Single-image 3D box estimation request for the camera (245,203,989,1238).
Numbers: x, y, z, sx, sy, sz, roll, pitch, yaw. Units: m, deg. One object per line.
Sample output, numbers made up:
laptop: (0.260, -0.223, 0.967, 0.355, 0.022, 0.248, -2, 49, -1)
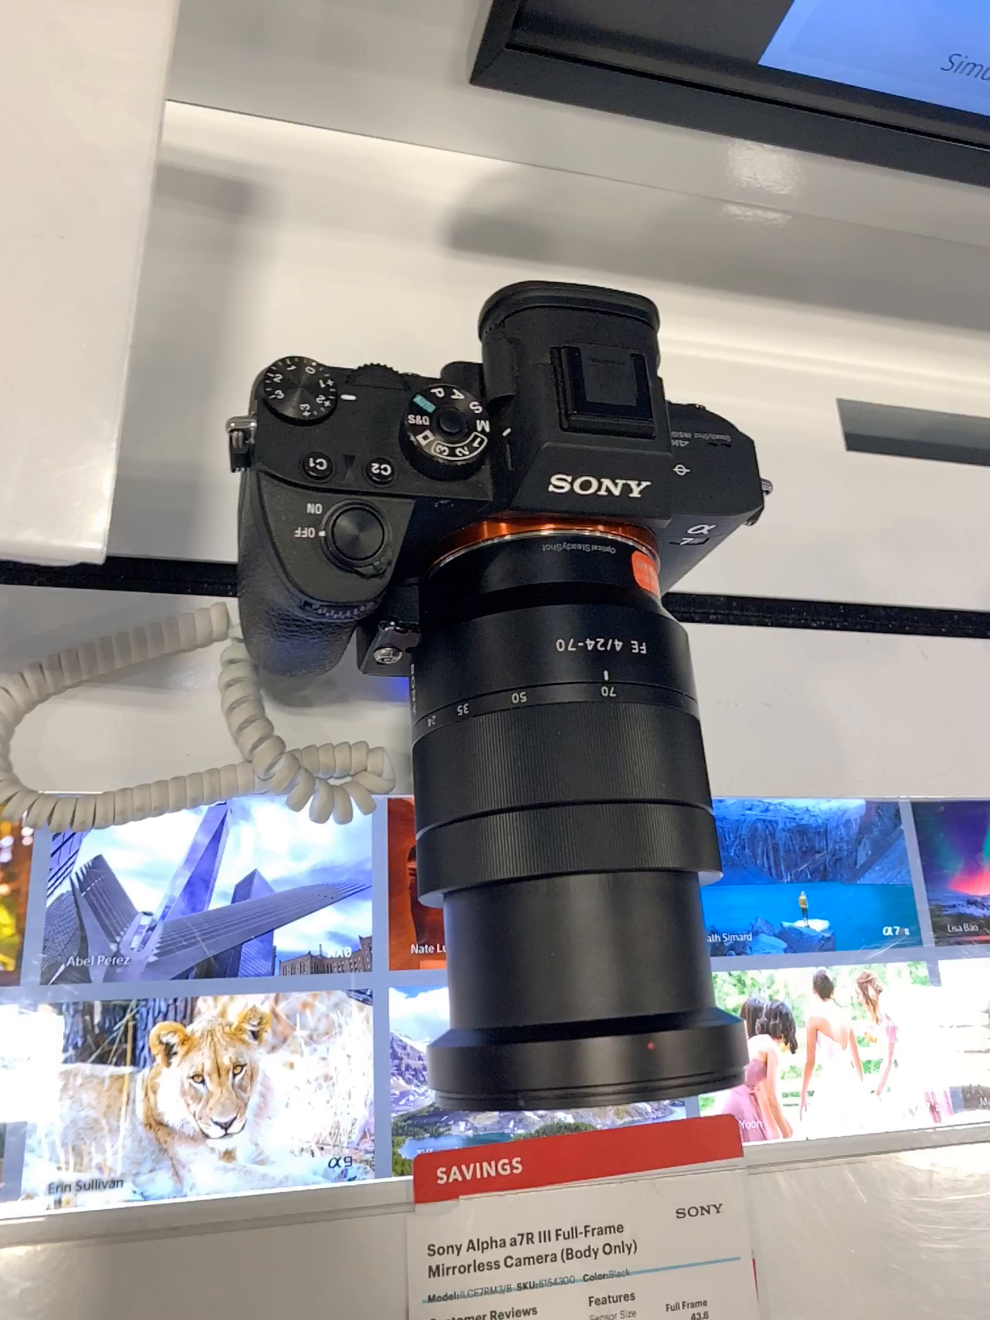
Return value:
camera: (0.009, 0.011, 0.246, 0.130, 0.100, 0.193, 0, 71, -15)
